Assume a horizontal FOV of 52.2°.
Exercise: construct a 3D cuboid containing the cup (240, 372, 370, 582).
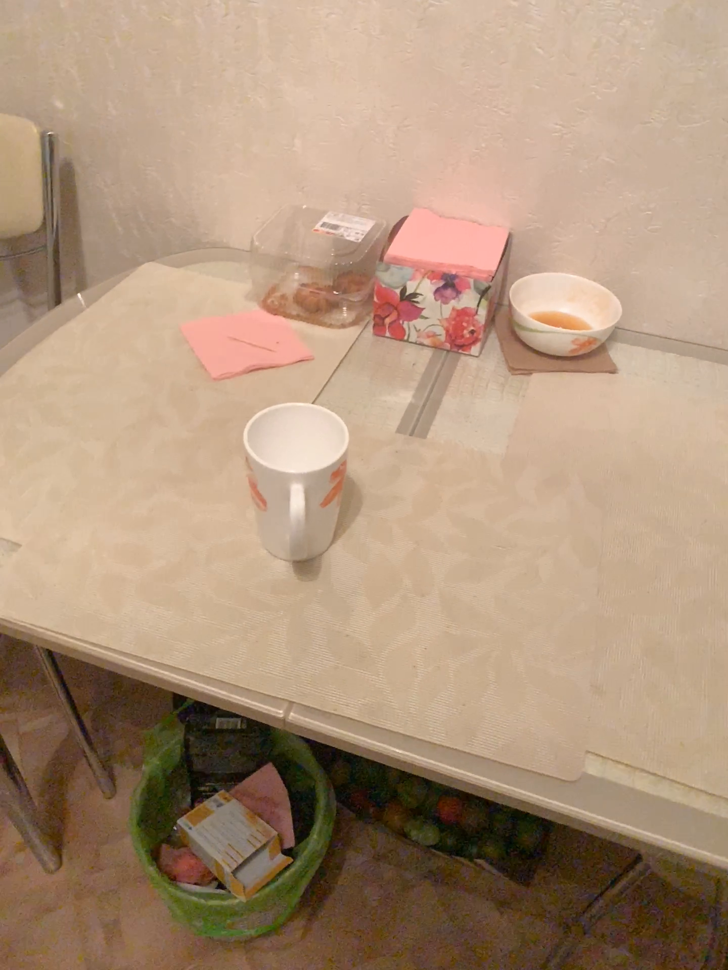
[{"bbox_3d":[-0.047,-0.008,0.562,0.083,0.099,0.120,-3,43,-7],"label":"cup"}]
